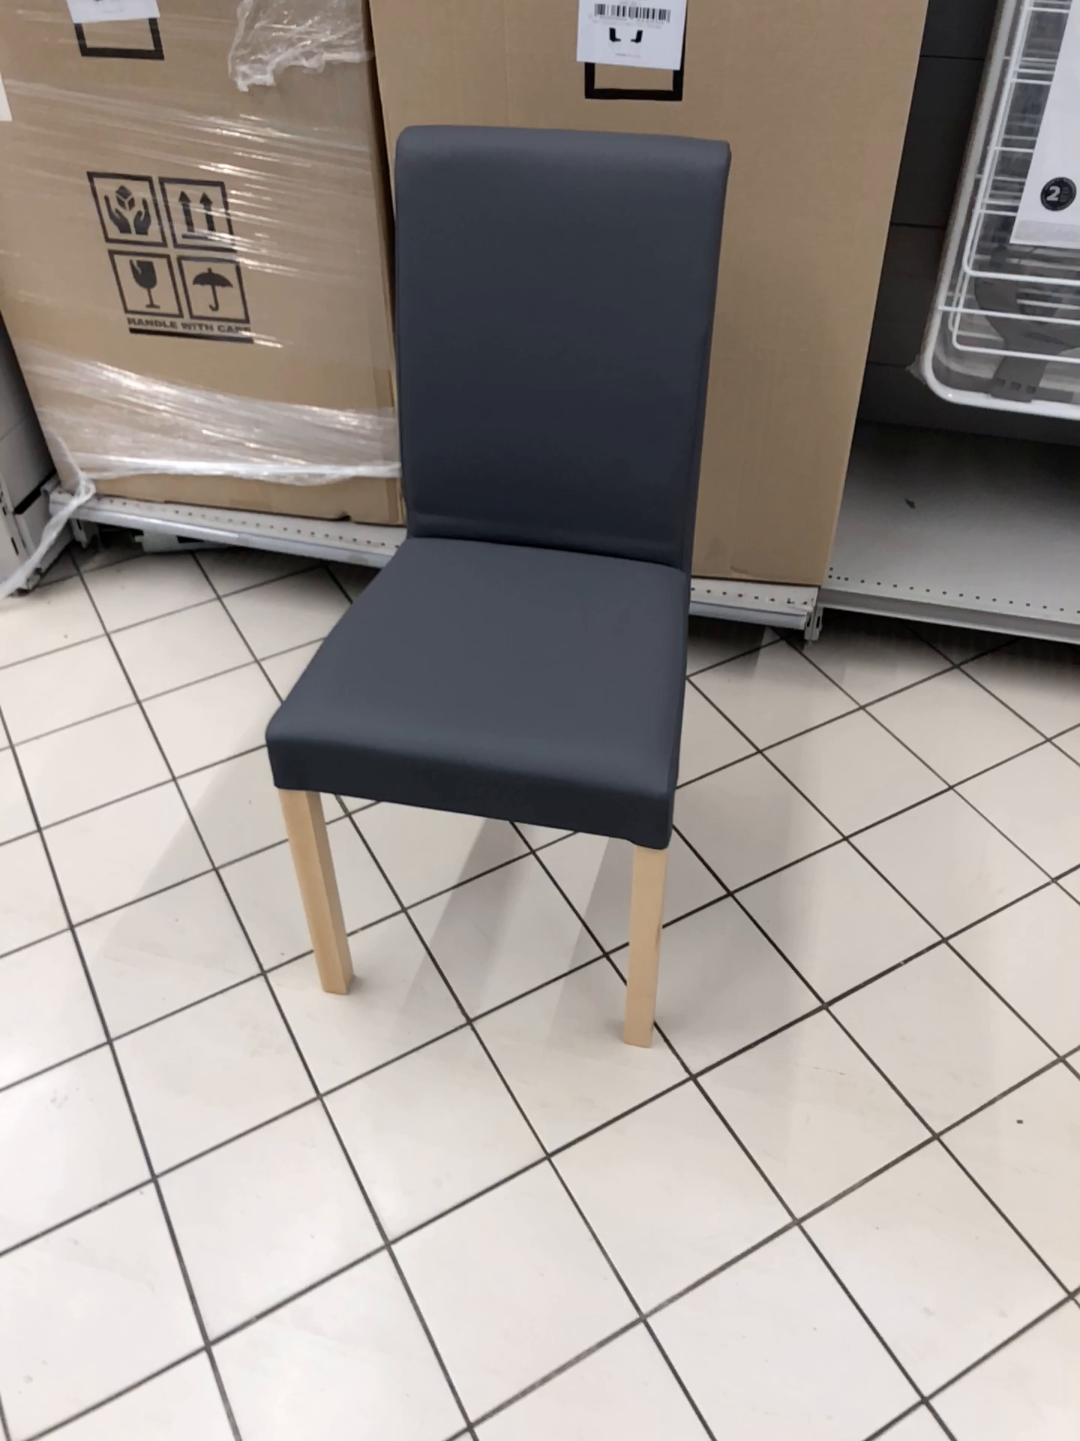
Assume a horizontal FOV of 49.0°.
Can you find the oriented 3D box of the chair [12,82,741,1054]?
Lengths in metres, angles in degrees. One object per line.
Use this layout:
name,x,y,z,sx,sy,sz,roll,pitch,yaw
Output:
chair,-0.073,-0.148,1.281,0.470,0.825,0.574,6,44,9
